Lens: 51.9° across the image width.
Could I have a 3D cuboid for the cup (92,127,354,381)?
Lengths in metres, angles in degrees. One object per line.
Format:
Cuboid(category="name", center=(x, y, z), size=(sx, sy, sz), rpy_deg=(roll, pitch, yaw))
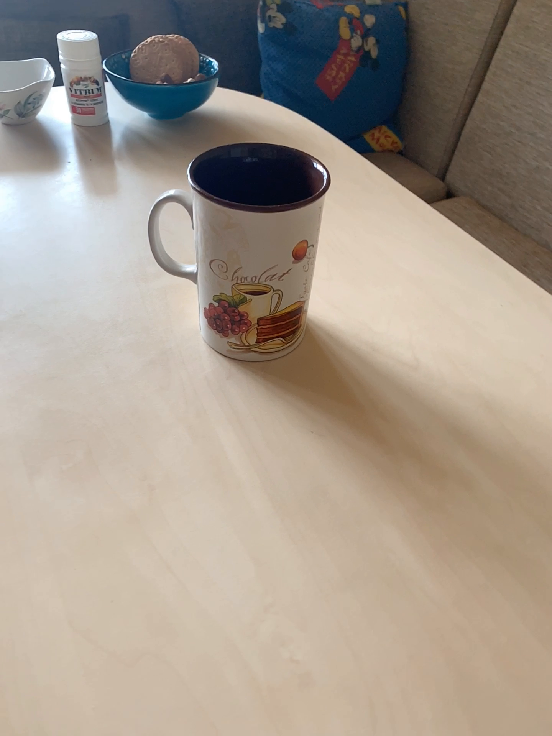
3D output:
Cuboid(category="cup", center=(-0.027, -0.073, 0.360), size=(0.130, 0.110, 0.090), rpy_deg=(10, 43, 5))
